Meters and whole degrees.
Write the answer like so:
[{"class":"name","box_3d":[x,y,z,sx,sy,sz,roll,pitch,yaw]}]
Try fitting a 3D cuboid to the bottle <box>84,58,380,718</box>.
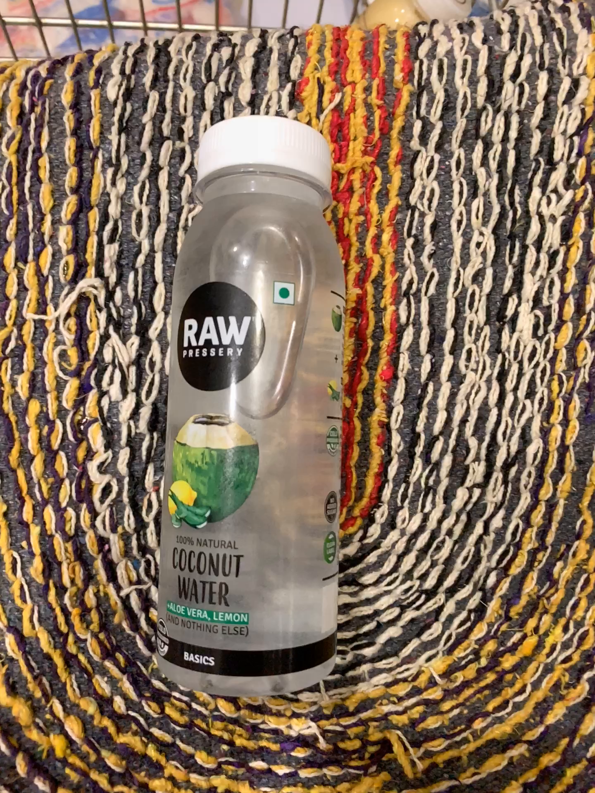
[{"class":"bottle","box_3d":[-0.013,-0.003,0.172,0.060,0.050,0.150,0,84,18]}]
